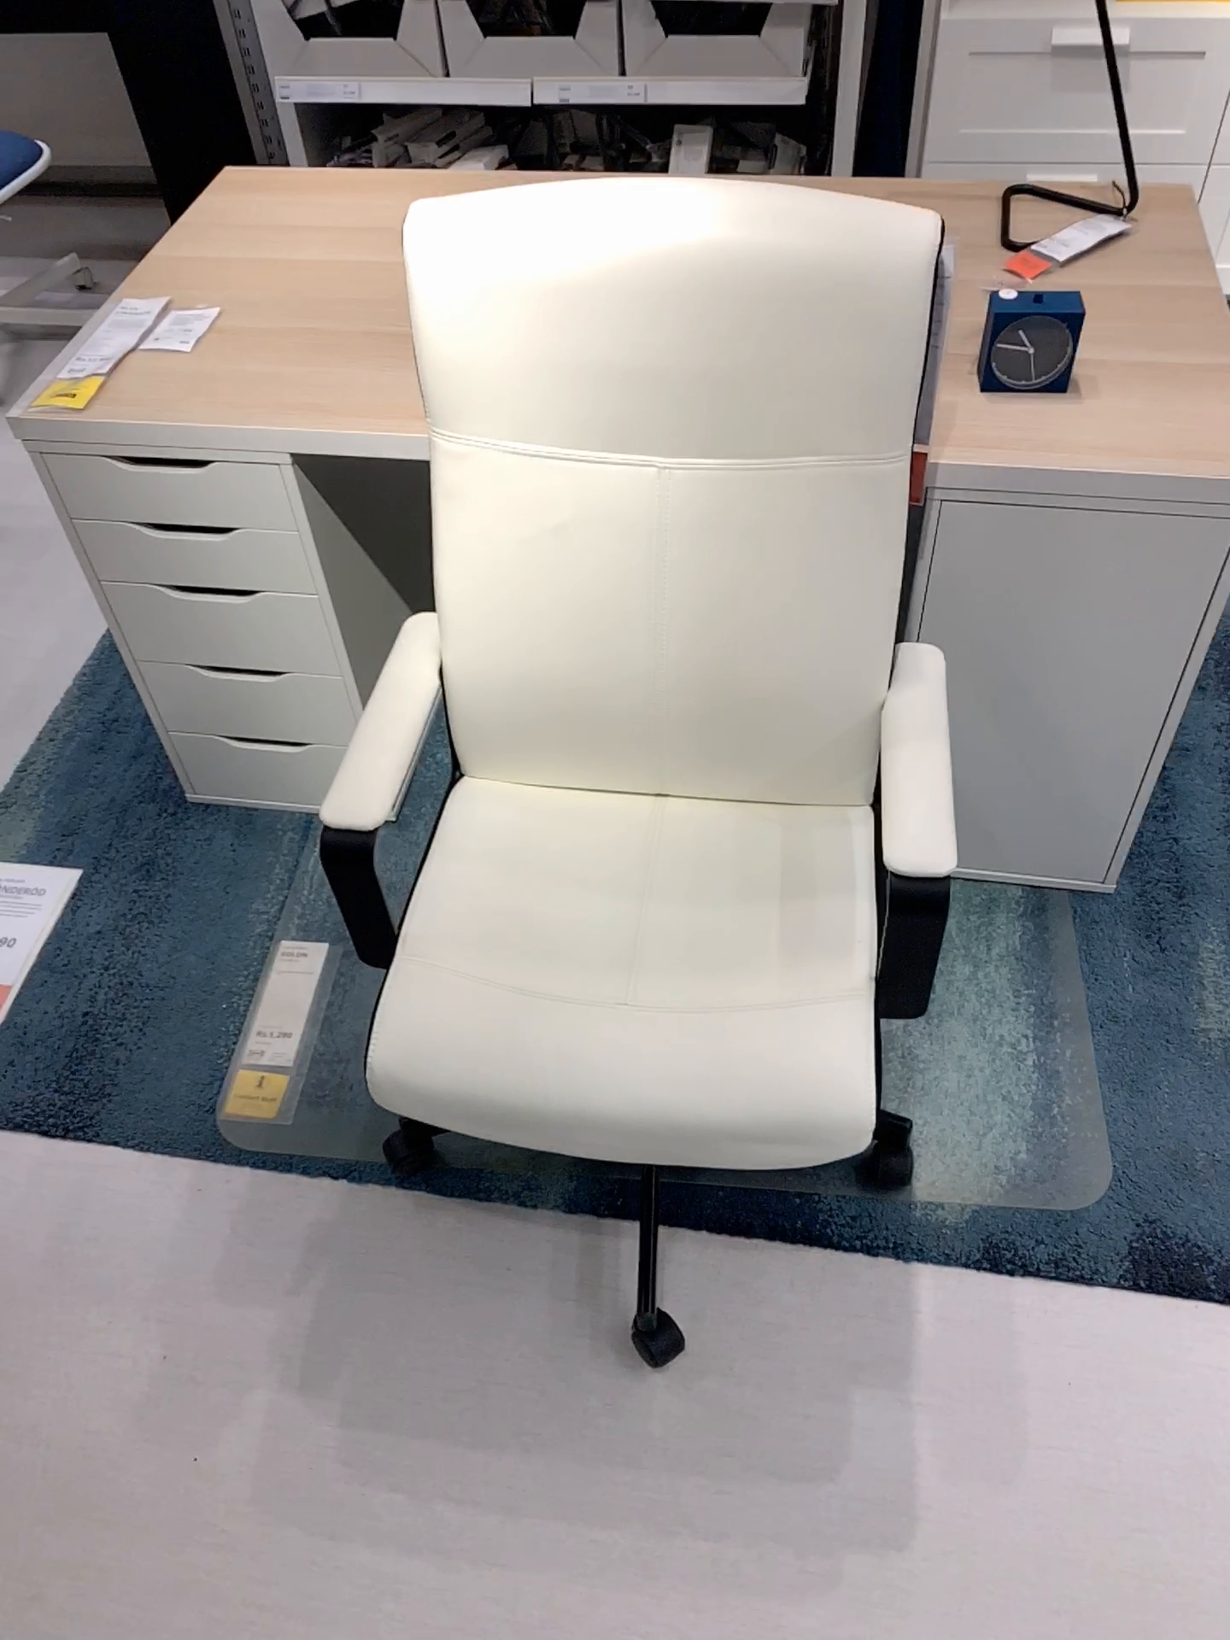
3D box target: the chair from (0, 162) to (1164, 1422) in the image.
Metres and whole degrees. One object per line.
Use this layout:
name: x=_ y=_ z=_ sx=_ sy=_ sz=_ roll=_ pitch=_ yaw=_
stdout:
chair: x=-0.003 y=0.014 z=1.209 sx=0.690 sy=0.957 sz=0.702 roll=5 pitch=49 yaw=9
